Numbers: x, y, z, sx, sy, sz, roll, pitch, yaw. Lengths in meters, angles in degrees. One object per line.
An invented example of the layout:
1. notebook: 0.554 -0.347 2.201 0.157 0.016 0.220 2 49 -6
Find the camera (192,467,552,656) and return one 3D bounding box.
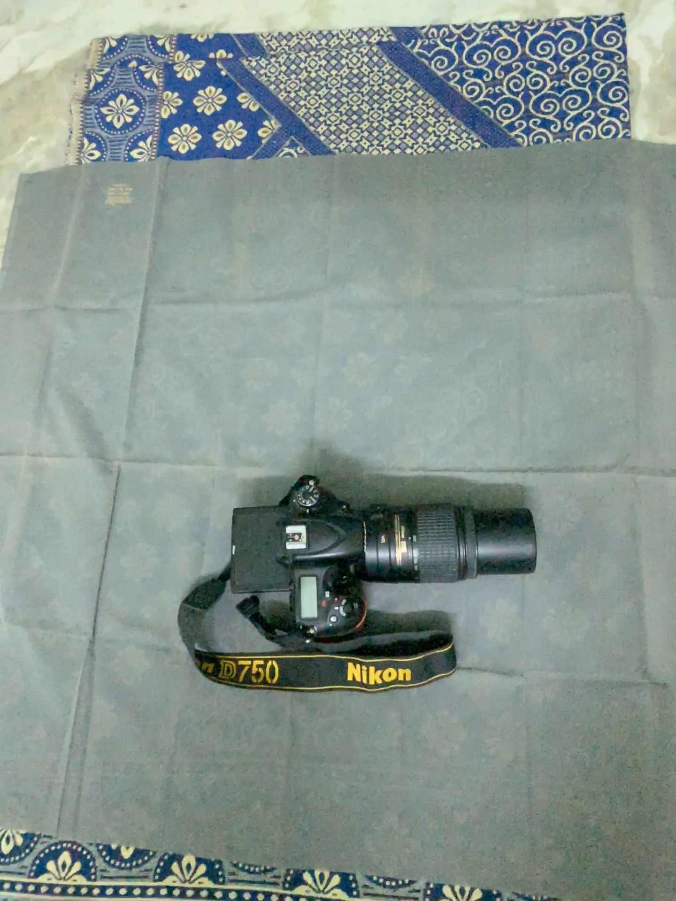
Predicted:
1. camera: 0.031 0.100 0.618 0.288 0.110 0.147 -1 76 10
